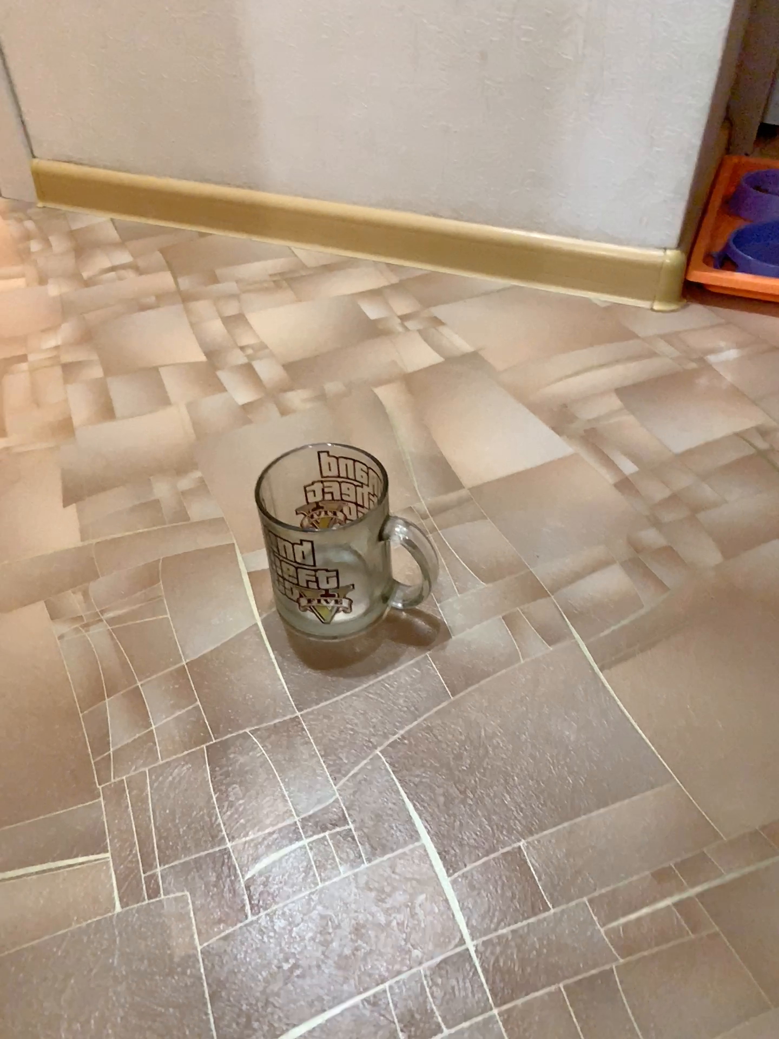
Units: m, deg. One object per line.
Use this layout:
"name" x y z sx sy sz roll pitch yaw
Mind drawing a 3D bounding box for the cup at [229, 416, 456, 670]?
"cup" -0.022 0.012 0.462 0.098 0.097 0.082 15 46 16
